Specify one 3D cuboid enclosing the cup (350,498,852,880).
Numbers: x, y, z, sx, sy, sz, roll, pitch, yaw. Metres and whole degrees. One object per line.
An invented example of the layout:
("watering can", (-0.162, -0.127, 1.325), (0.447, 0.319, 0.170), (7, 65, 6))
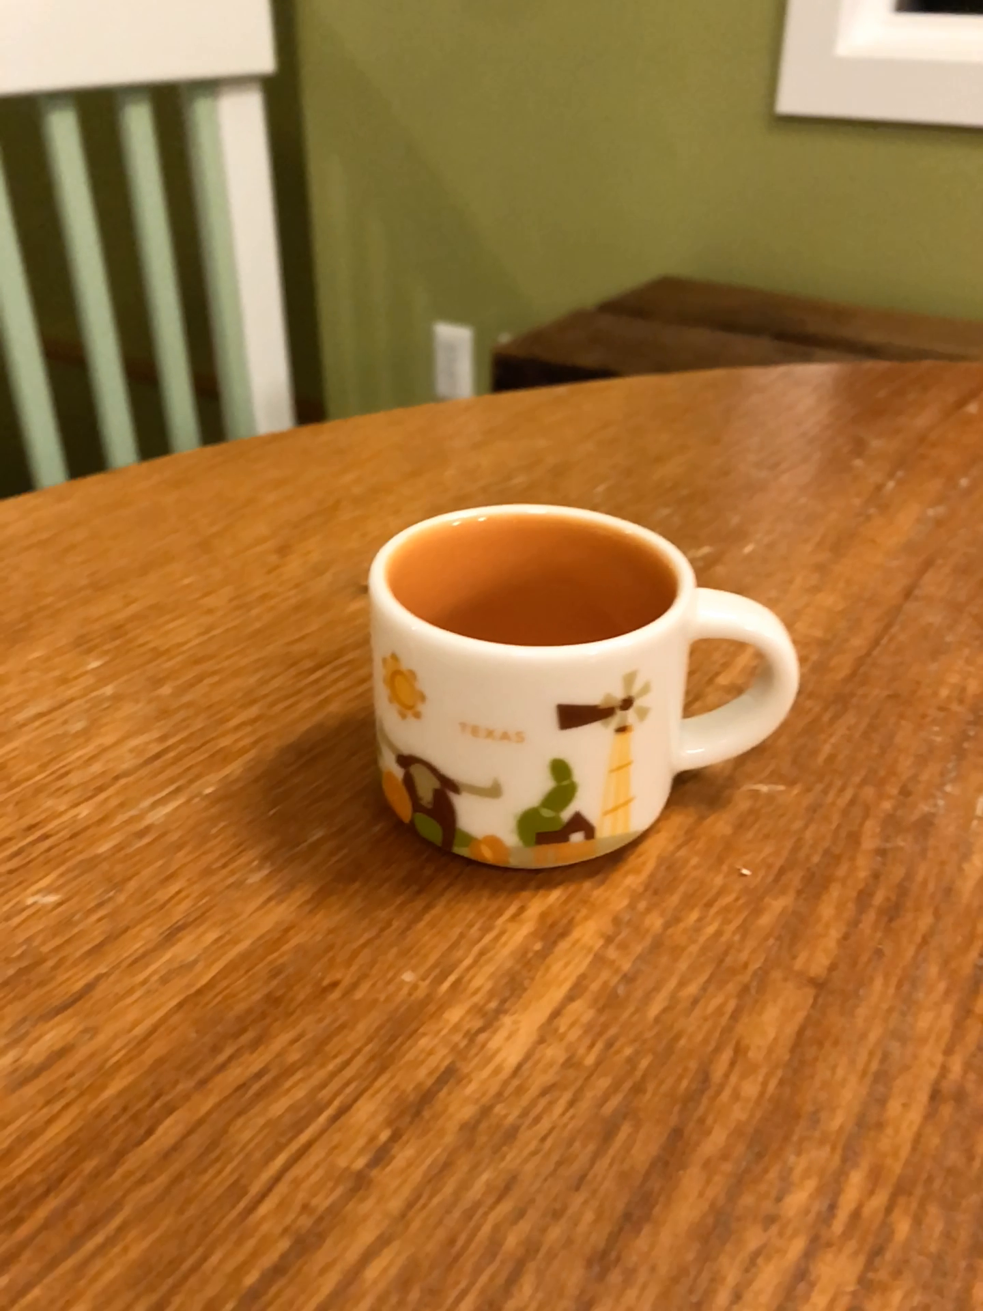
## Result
("cup", (0.017, 0.004, 0.213), (0.080, 0.049, 0.060), (0, 31, 0))
